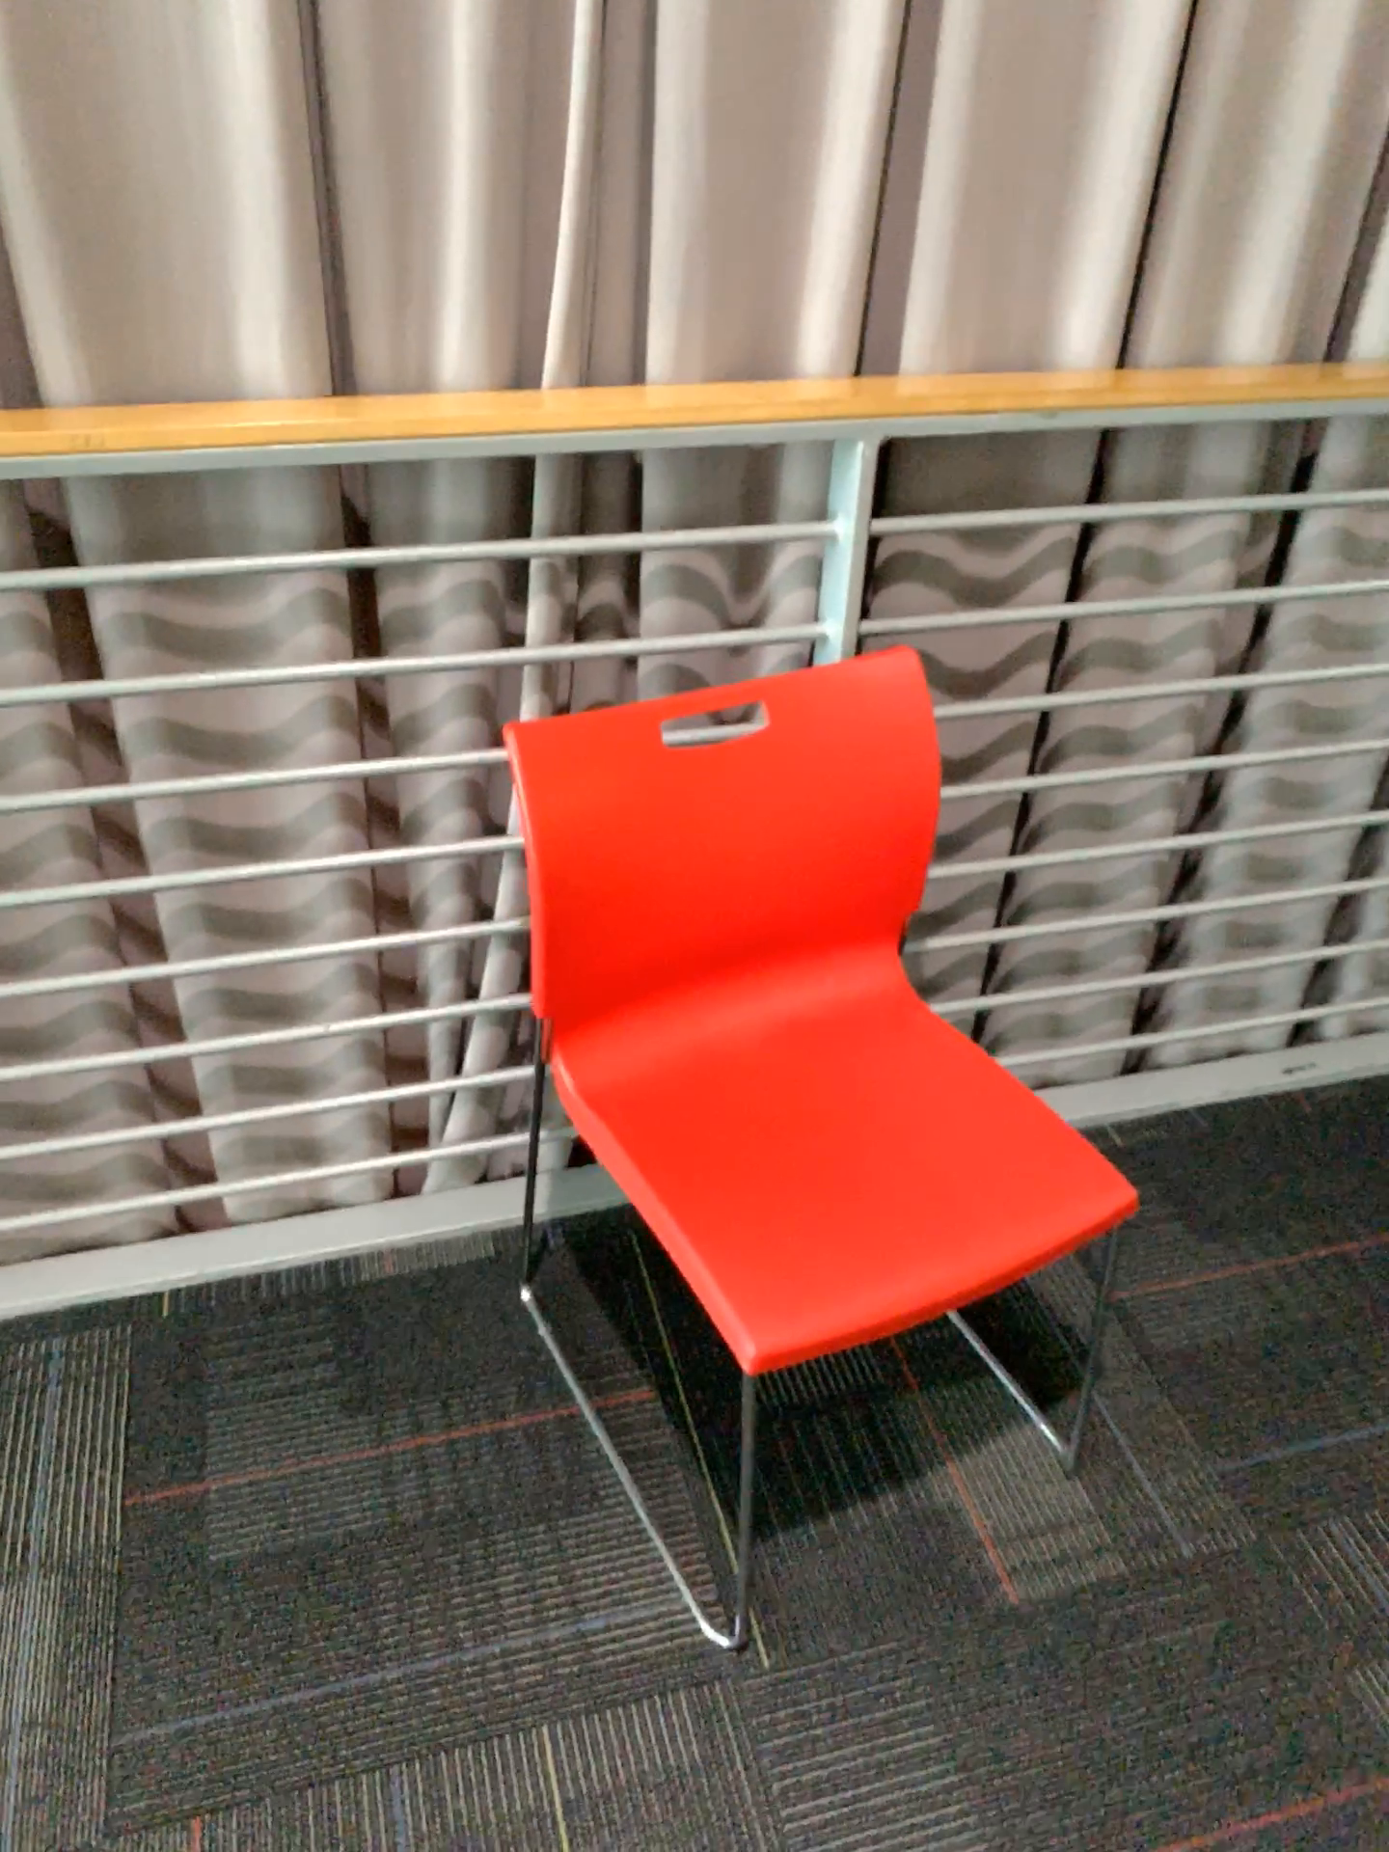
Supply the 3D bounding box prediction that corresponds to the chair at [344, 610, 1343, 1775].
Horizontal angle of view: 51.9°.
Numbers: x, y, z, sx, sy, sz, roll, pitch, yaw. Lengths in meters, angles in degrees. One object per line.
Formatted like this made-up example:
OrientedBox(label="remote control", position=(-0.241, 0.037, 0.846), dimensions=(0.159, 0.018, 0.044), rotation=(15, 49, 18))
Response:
OrientedBox(label="chair", position=(0.068, 0.243, 1.515), dimensions=(0.630, 0.855, 0.663), rotation=(-14, 41, -23))
